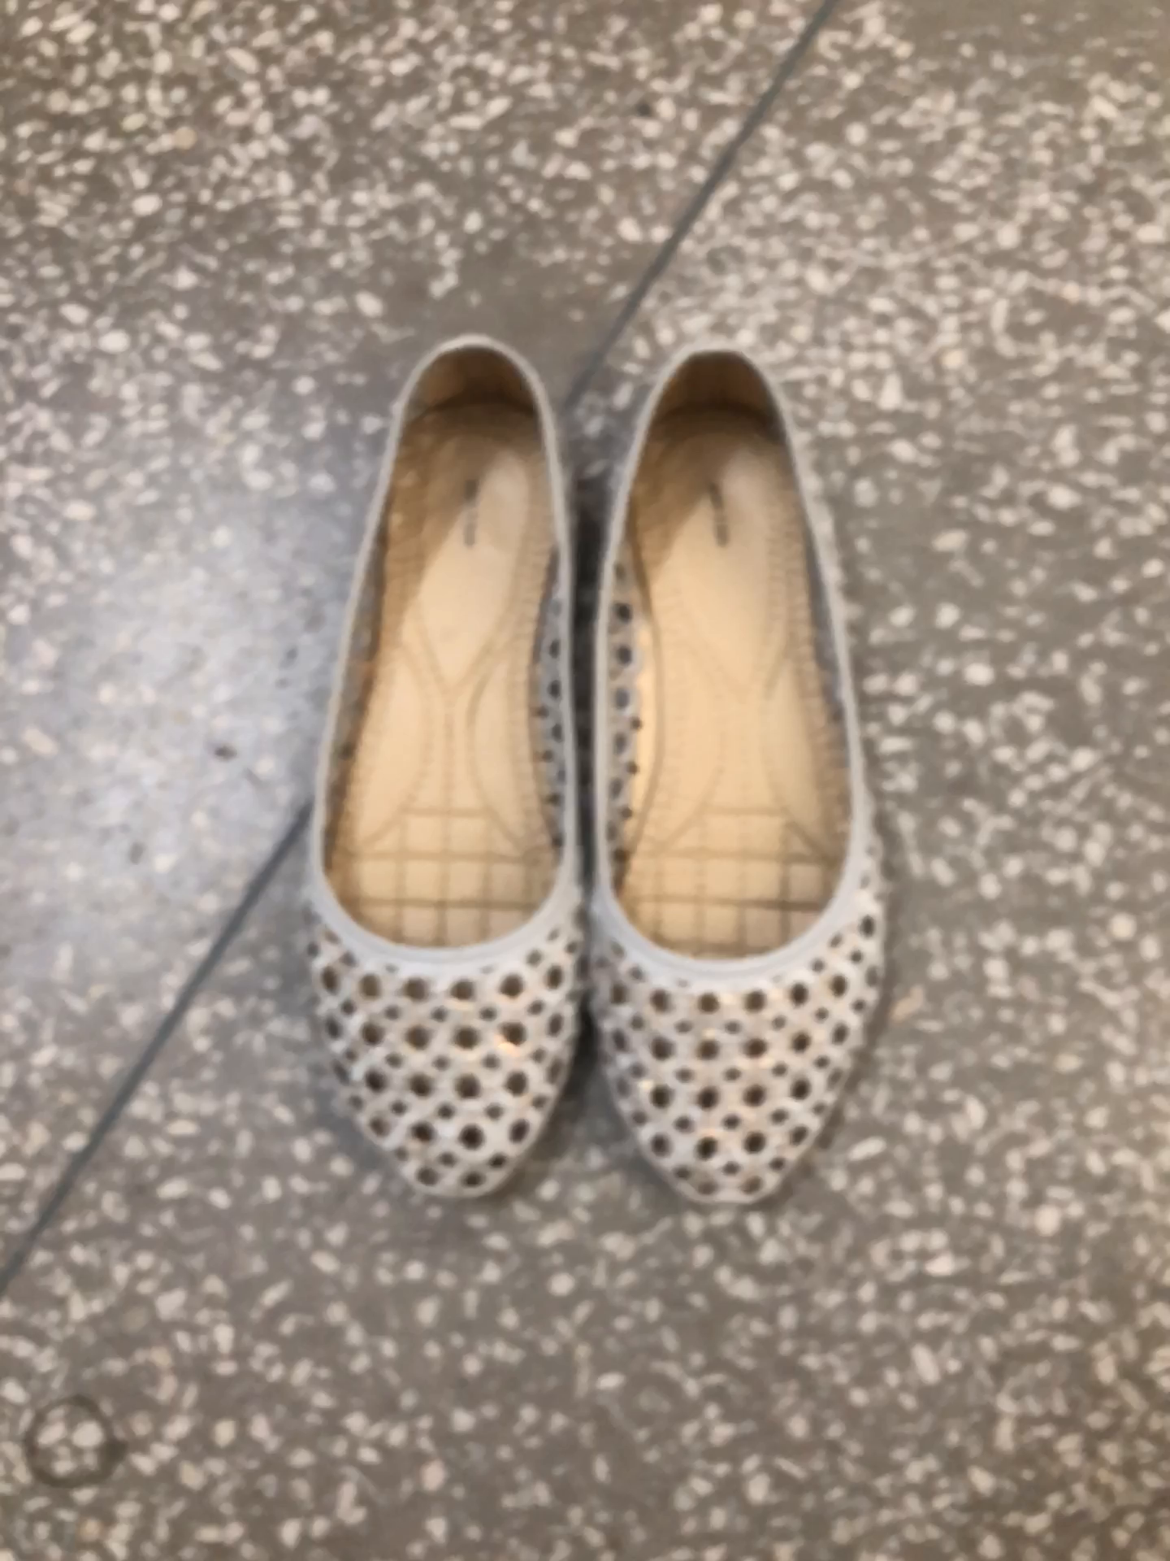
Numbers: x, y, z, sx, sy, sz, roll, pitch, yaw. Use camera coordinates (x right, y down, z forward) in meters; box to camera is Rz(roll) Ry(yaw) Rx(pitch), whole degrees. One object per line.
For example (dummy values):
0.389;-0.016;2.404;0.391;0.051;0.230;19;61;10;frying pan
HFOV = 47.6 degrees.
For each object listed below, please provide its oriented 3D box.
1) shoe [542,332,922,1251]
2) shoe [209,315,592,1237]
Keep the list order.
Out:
0.035;0.002;0.378;0.093;0.070;0.240;0;81;-1;shoe
-0.046;-0.002;0.376;0.093;0.070;0.240;0;81;-1;shoe
